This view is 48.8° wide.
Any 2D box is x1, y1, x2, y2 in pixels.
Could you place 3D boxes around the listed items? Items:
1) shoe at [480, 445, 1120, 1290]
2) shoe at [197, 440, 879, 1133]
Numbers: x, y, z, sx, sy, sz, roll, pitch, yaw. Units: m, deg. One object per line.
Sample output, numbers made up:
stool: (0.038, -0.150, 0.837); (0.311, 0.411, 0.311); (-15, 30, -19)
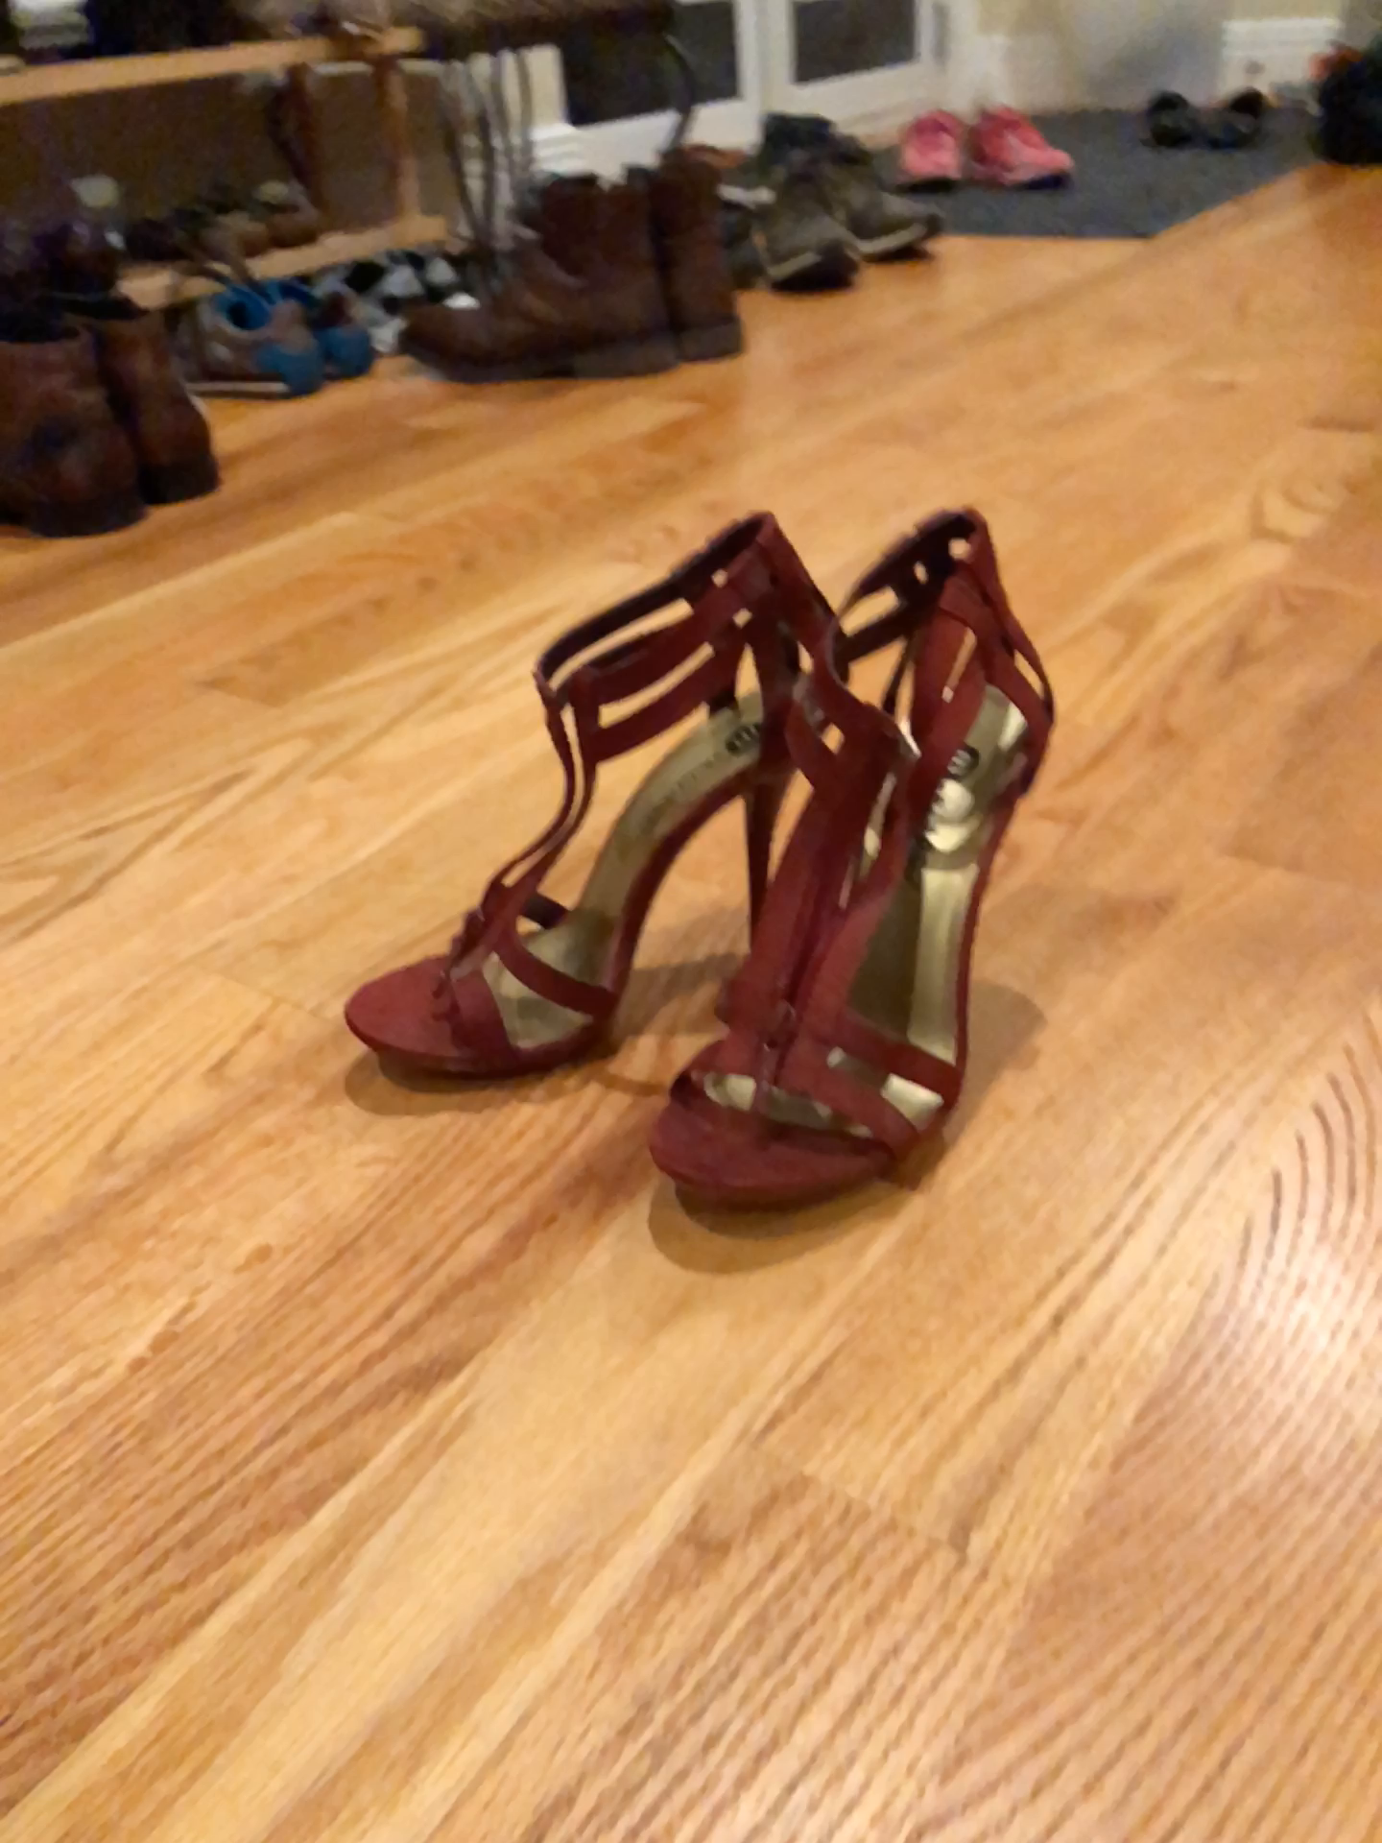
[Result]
shoe: (0.048, -0.030, 0.475); (0.085, 0.175, 0.207); (16, 37, 32)
shoe: (-0.043, -0.053, 0.533); (0.199, 0.175, 0.085); (-19, 34, -21)
